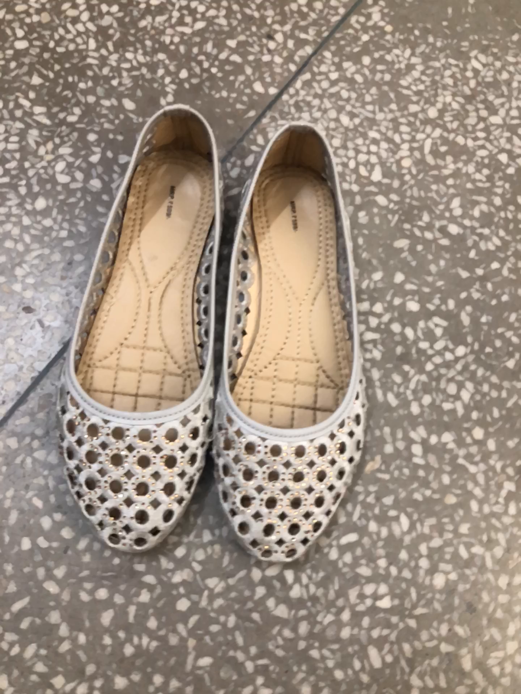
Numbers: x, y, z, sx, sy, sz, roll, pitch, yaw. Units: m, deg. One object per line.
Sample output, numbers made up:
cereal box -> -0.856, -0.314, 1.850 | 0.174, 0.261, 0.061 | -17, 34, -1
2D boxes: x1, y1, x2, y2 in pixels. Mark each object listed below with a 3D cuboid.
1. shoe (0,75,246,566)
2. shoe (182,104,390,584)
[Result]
shoe -> -0.065, -0.015, 0.315 | 0.093, 0.070, 0.240 | 5, 74, -6
shoe -> 0.015, -0.004, 0.323 | 0.093, 0.070, 0.240 | 5, 74, -6
